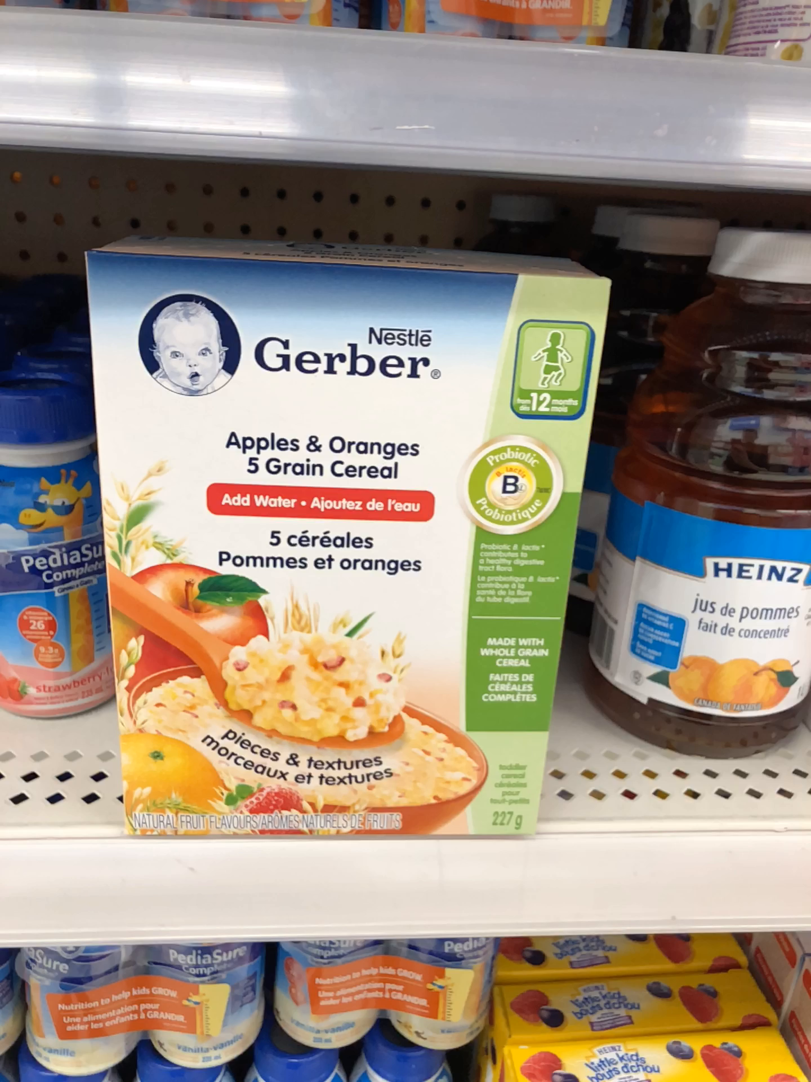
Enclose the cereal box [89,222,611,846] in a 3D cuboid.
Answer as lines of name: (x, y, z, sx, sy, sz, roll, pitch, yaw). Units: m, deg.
cereal box: (-0.022, 0.005, 0.302, 0.140, 0.199, 0.050, 2, 22, -6)
